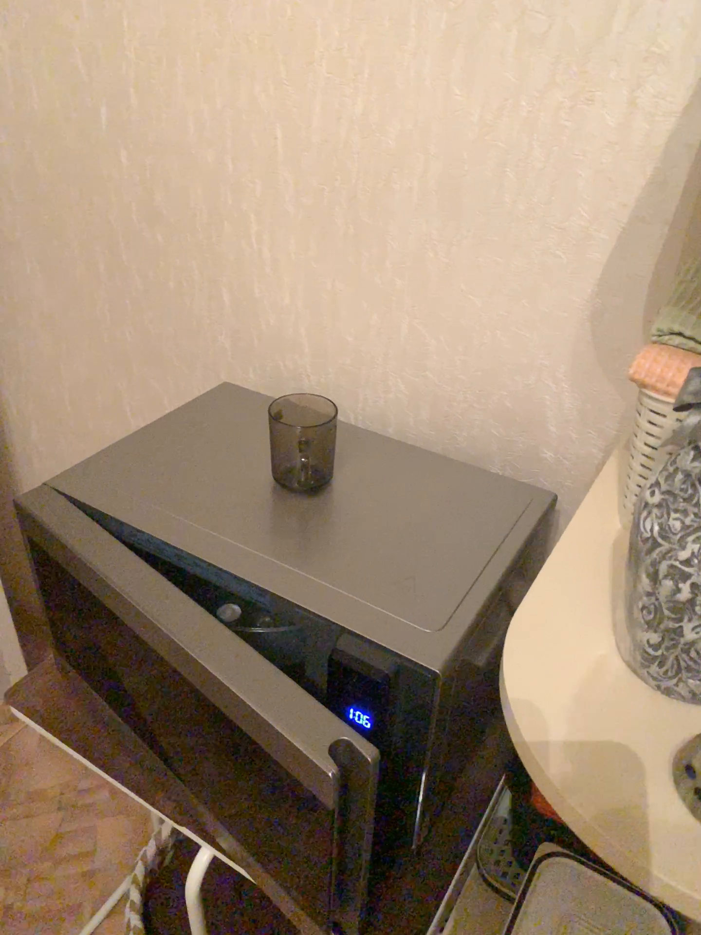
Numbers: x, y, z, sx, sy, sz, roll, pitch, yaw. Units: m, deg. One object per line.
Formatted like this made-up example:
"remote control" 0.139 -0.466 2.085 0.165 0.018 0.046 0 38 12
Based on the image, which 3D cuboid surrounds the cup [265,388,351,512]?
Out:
"cup" -0.047 -0.021 0.743 0.080 0.079 0.111 -2 32 -7
